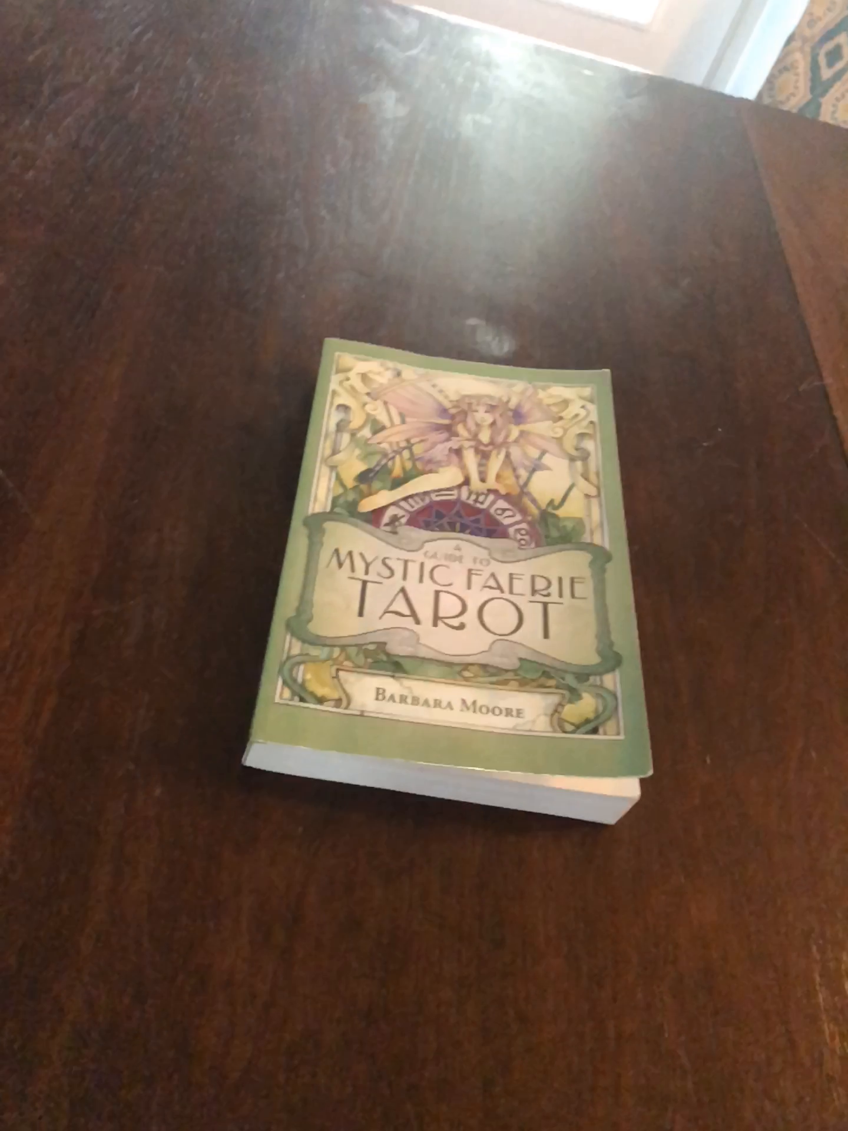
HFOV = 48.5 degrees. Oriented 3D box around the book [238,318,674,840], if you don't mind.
[{"bbox_3d":[0.016,-0.007,0.372,0.139,0.032,0.209,9,52,-6],"label":"book"}]
